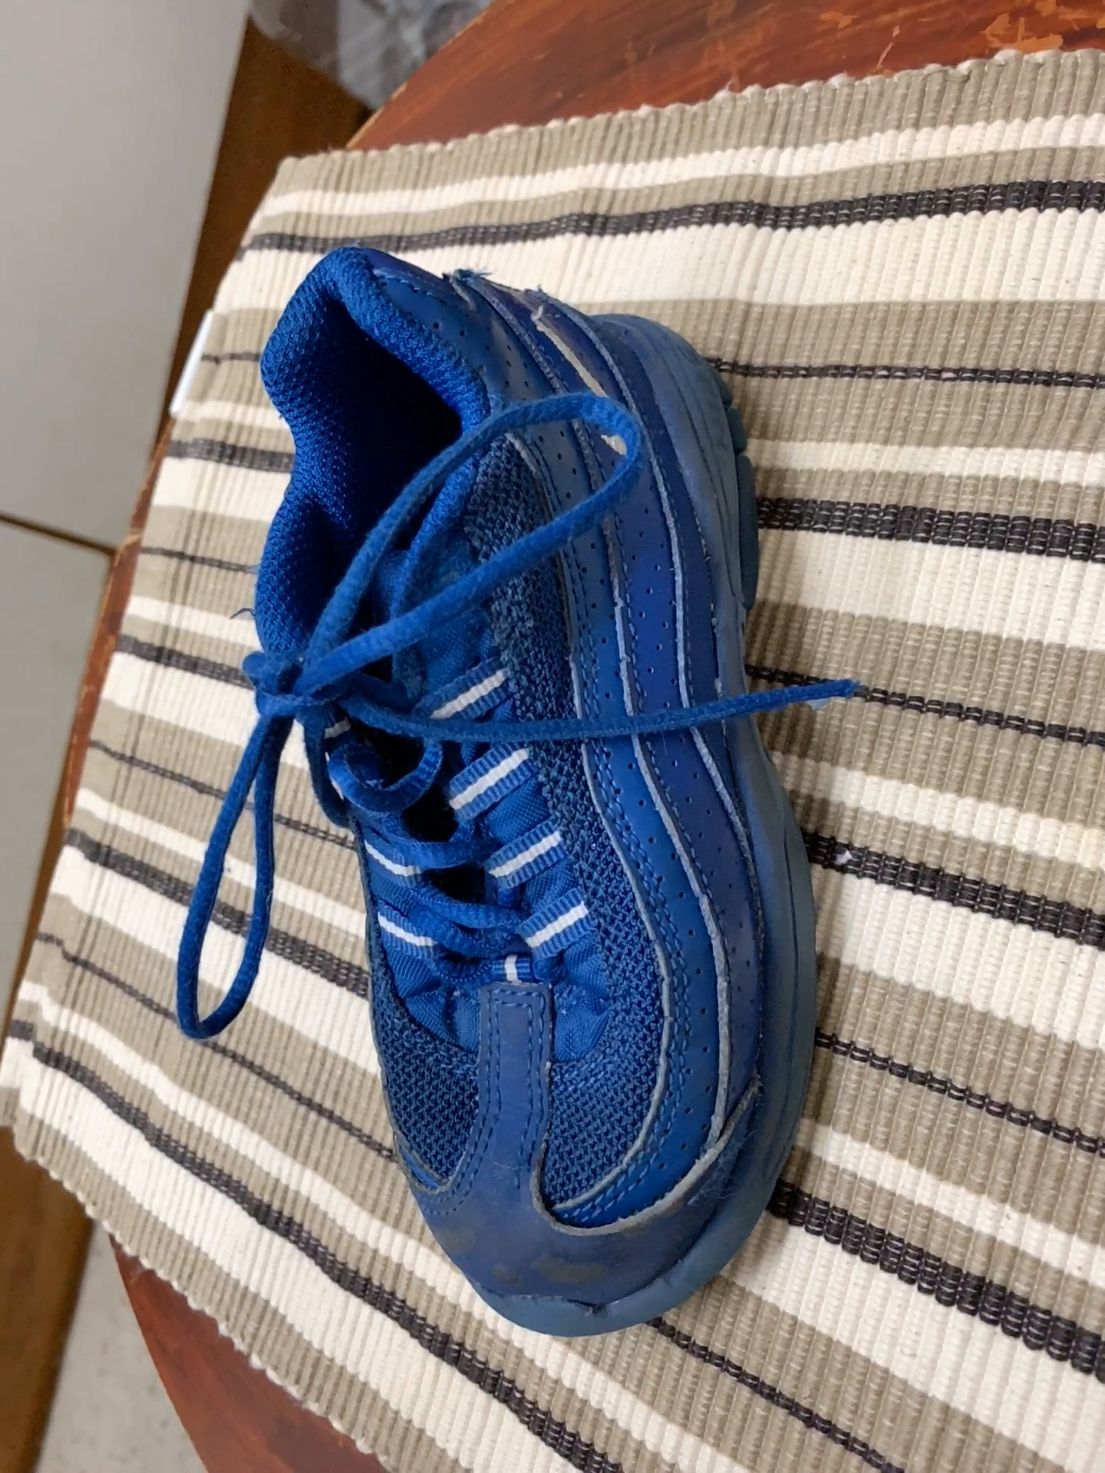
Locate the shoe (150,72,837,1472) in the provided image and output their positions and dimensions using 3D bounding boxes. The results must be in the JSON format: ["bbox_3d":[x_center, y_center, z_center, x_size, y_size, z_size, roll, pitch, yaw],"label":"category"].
[{"bbox_3d":[-0.003,0.005,0.195,0.073,0.079,0.175,-5,78,36],"label":"shoe"}]
